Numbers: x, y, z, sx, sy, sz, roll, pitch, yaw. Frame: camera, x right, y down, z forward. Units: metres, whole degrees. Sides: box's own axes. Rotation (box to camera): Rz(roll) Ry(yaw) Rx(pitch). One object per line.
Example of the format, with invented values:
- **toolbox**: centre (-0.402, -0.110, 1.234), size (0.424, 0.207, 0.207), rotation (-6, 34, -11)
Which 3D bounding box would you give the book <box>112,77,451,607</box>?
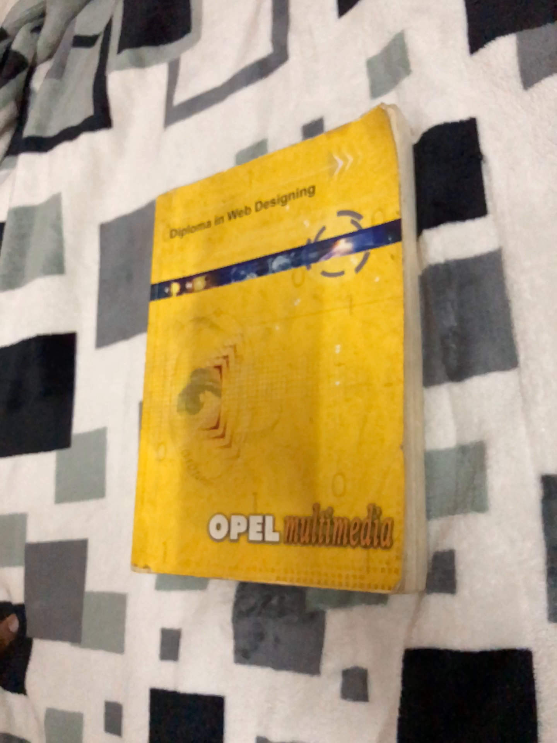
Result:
- **book**: centre (-0.003, -0.012, 0.441), size (0.221, 0.070, 0.310), rotation (-8, 73, 35)
